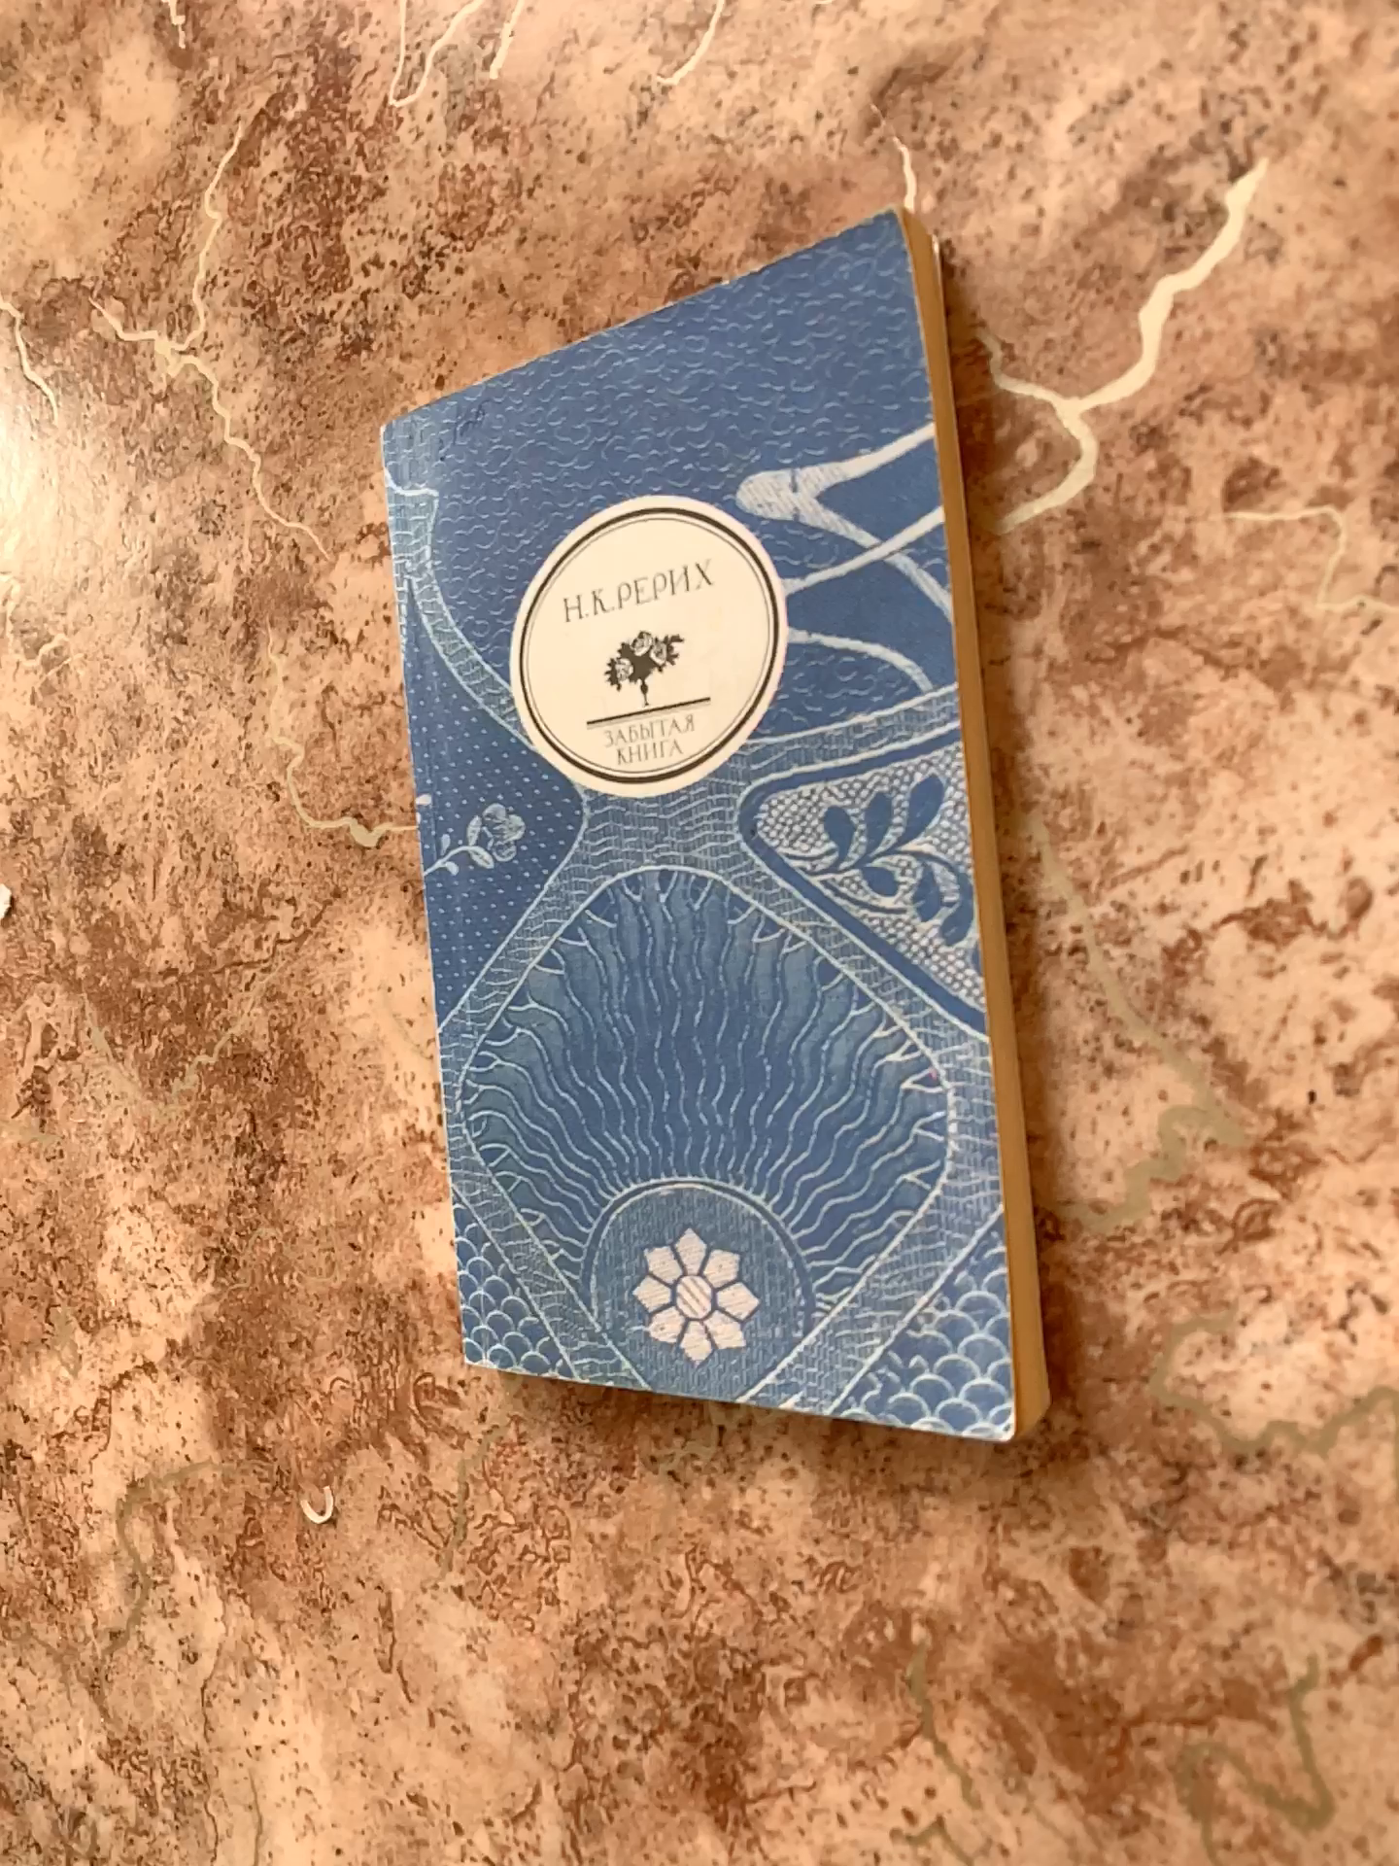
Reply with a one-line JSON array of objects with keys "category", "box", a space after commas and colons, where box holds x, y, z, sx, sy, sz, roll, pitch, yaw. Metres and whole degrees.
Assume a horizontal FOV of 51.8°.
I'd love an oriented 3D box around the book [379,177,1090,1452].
[{"category": "book", "box": [-0.001, -0.014, 0.268, 0.126, 0.015, 0.202, -6, 89, 34]}]
